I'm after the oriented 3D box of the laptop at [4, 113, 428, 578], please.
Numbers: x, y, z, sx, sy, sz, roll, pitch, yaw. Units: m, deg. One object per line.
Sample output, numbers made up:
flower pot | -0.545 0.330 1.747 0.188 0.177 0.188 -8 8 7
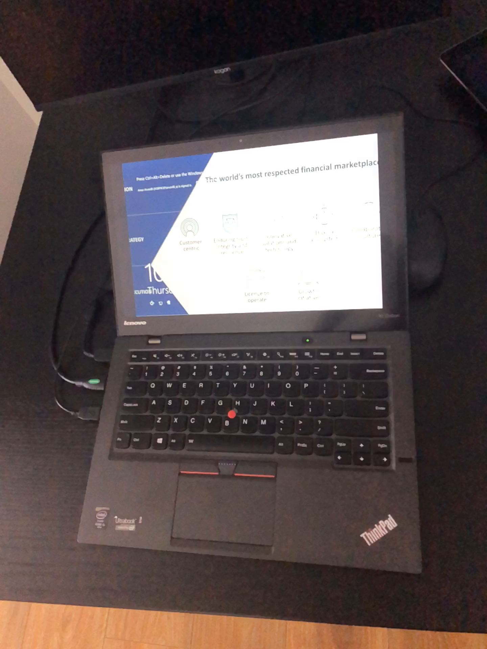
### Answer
laptop | -0.007 0.008 0.514 0.323 0.117 0.389 -1 67 15
